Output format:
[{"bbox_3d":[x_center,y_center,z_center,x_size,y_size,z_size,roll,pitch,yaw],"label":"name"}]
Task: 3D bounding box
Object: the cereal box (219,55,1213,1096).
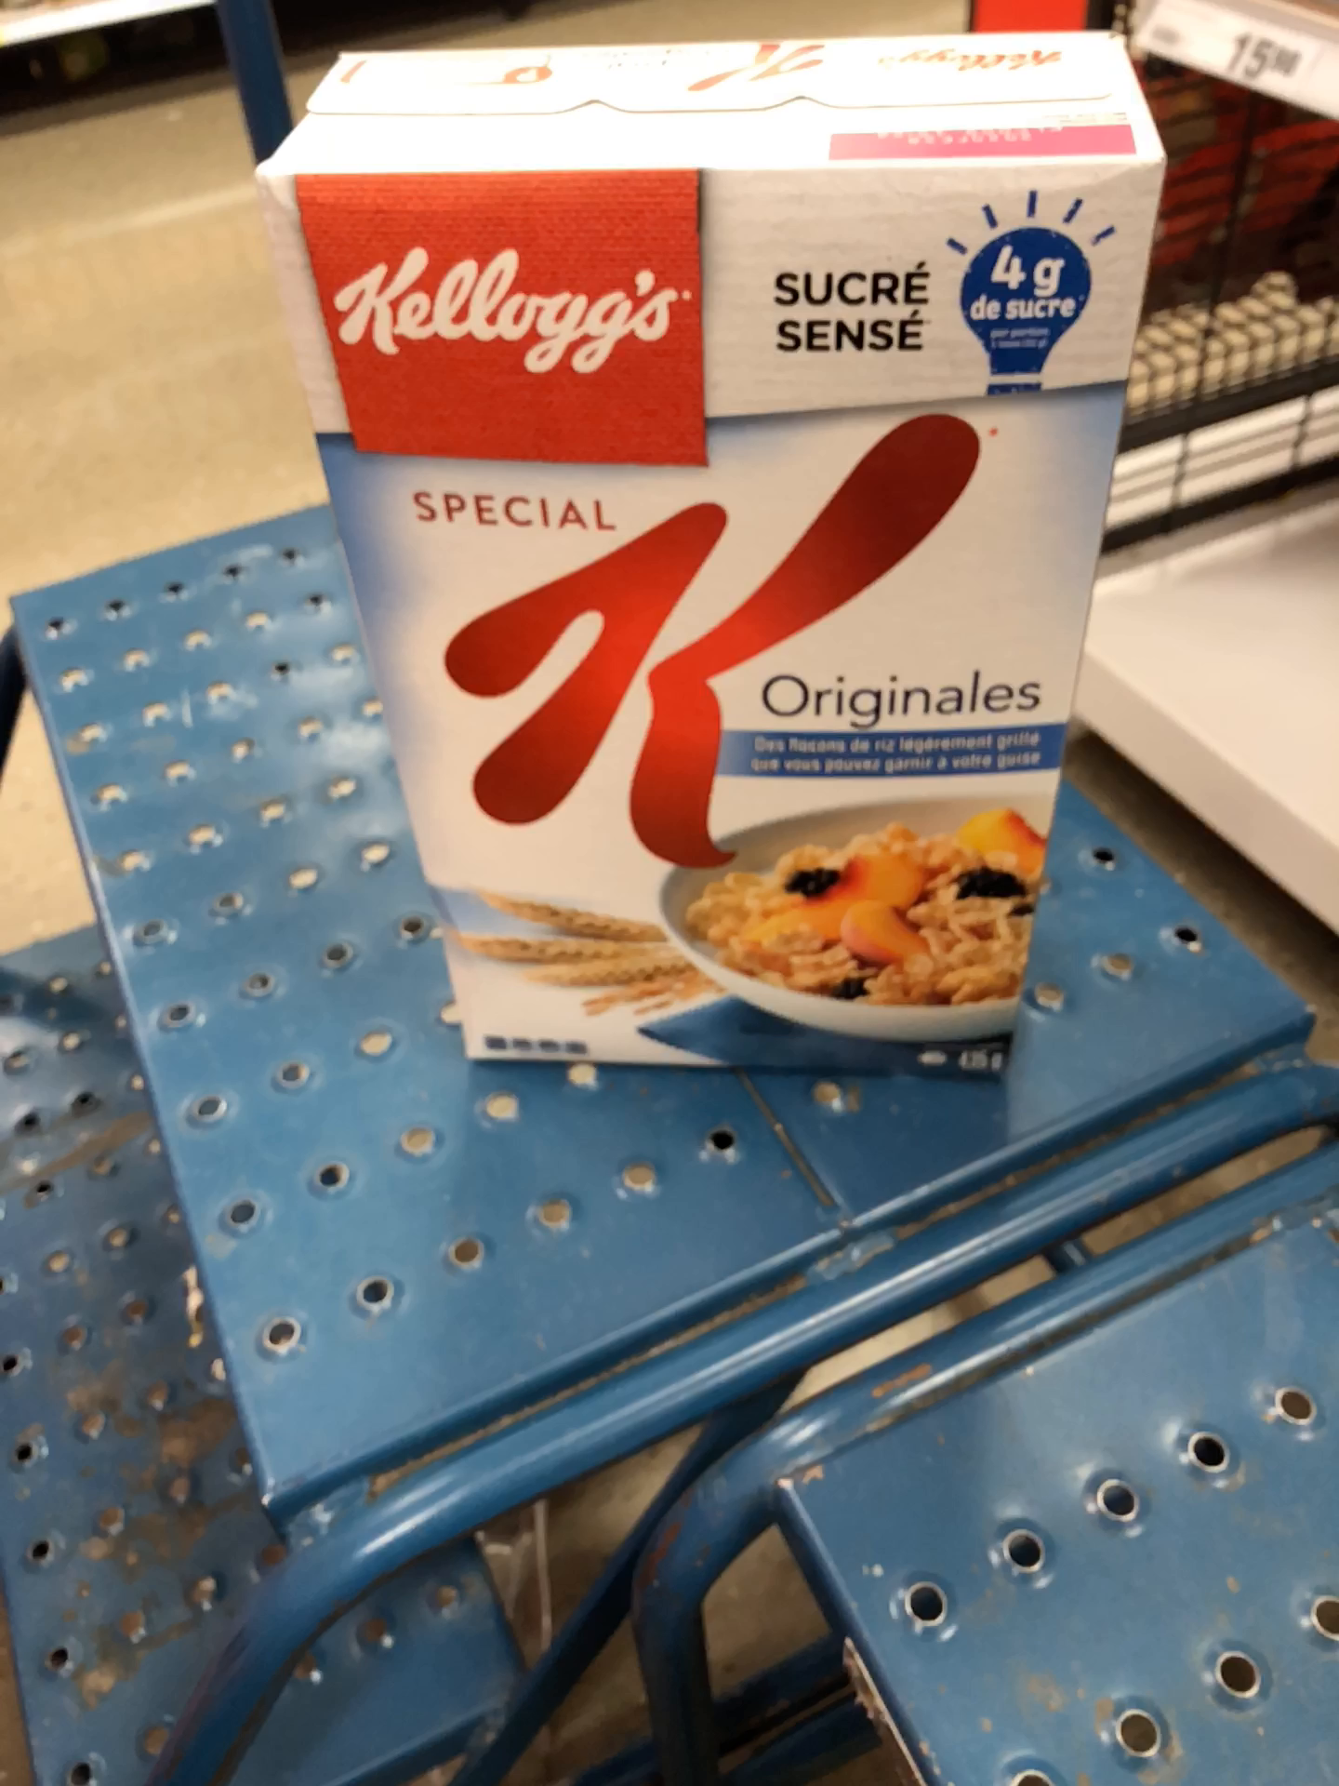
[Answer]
[{"bbox_3d":[0.019,-0.069,0.448,0.210,0.299,0.080,2,44,7],"label":"cereal box"}]
